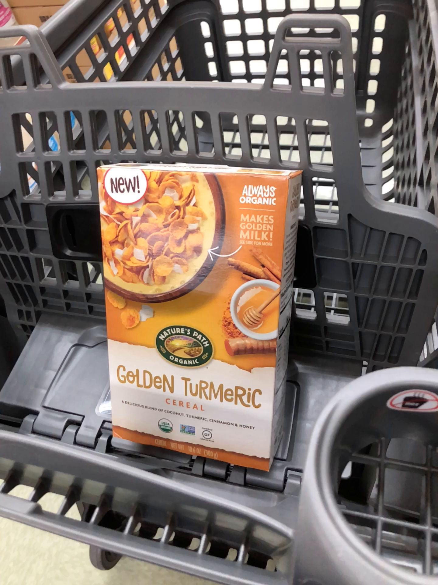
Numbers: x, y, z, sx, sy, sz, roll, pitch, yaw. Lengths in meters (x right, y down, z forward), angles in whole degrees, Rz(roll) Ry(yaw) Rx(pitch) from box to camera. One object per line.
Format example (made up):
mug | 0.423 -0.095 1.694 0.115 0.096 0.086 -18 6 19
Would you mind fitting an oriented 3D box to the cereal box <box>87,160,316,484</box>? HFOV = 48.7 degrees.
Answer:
cereal box | -0.017 0.021 0.447 0.180 0.270 0.070 7 17 16
